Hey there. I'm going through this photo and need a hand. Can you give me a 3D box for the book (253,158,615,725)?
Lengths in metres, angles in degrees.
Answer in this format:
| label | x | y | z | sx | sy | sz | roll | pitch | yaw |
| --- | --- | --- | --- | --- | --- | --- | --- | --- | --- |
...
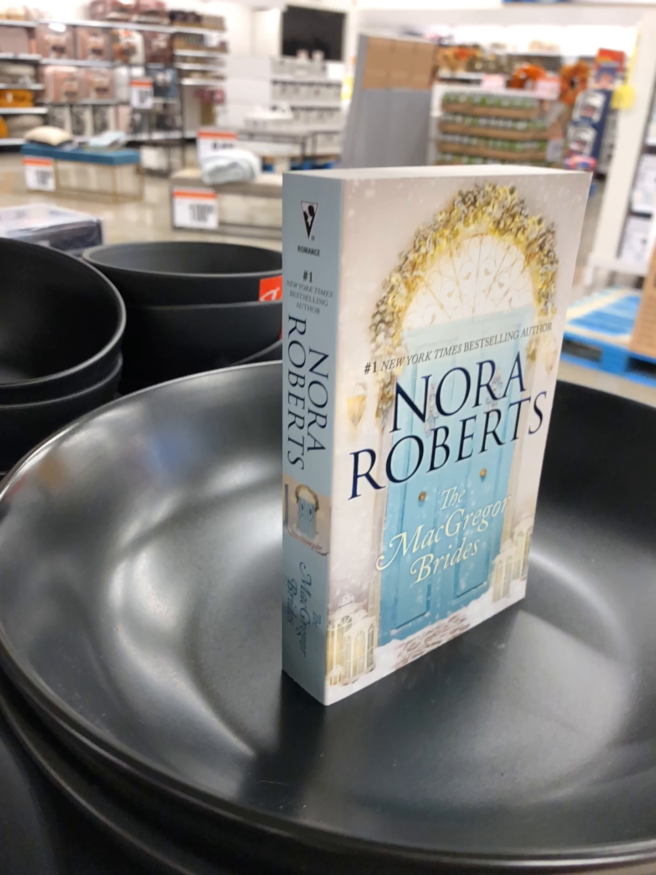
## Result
| label | x | y | z | sx | sy | sz | roll | pitch | yaw |
| --- | --- | --- | --- | --- | --- | --- | --- | --- | --- |
| book | 0.033 | -0.003 | 0.251 | 0.111 | 0.168 | 0.040 | -17 | 30 | -35 |
